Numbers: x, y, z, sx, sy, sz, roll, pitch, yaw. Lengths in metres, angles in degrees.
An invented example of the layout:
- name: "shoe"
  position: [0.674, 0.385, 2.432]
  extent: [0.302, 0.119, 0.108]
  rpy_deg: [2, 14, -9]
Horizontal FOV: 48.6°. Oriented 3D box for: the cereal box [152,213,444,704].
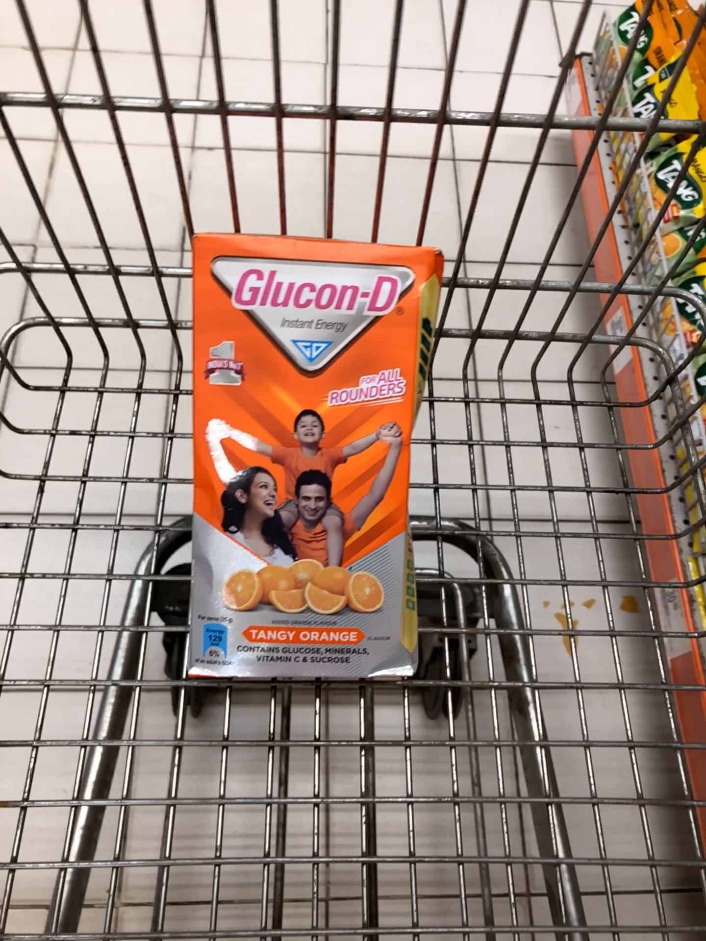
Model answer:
- name: "cereal box"
  position: [-0.027, -0.006, 0.388]
  extent: [0.120, 0.100, 0.210]
  rpy_deg: [2, 95, -3]
